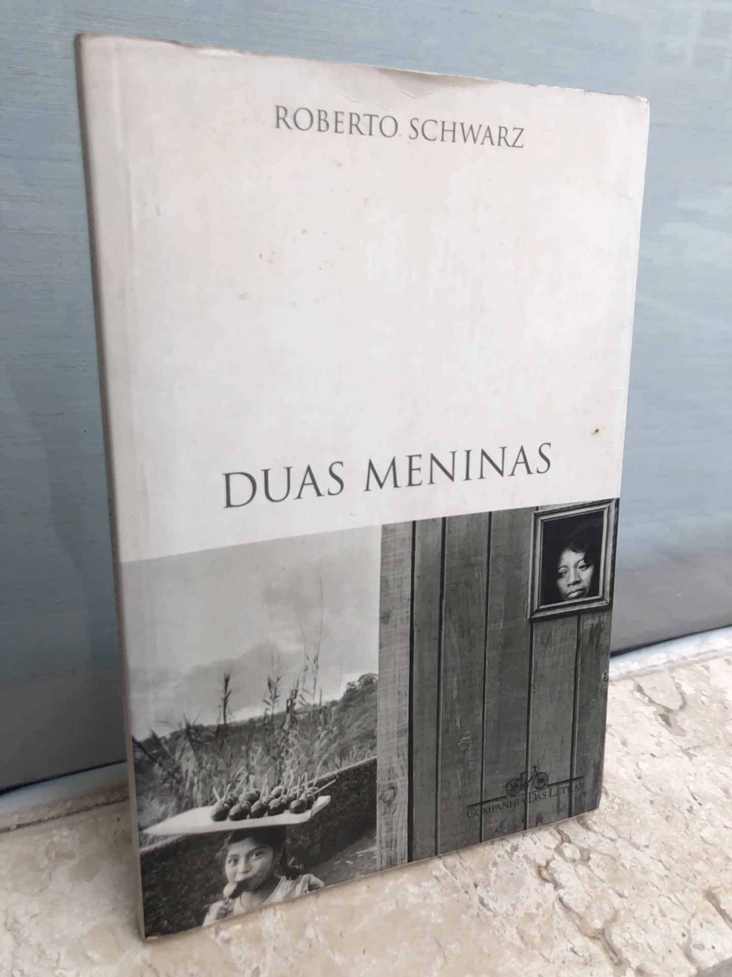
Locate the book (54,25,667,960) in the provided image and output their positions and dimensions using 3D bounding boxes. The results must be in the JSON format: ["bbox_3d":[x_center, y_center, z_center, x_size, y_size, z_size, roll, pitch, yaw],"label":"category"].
[{"bbox_3d":[0.006,0.007,0.205,0.139,0.205,0.016,-6,16,-21],"label":"book"}]
